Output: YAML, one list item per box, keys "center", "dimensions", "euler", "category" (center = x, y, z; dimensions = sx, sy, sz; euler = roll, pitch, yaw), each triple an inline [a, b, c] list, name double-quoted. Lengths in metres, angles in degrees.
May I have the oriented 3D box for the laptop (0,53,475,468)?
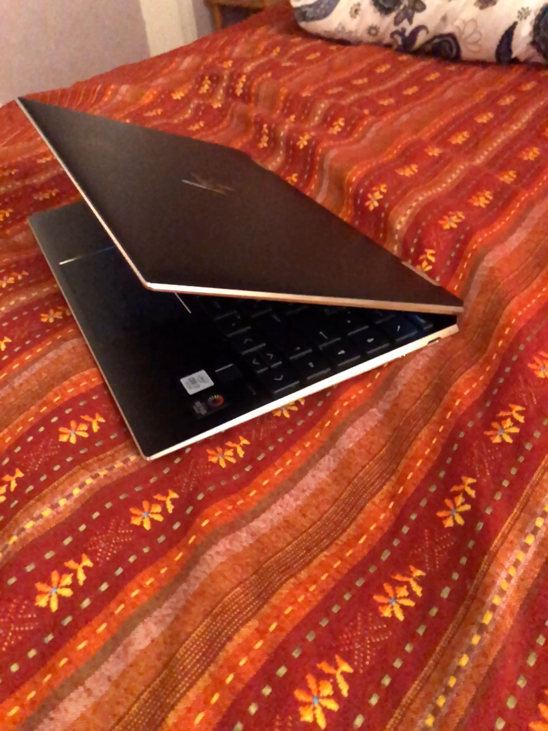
- center: [-0.052, -0.115, 0.402]
  dimensions: [0.203, 0.101, 0.327]
  euler: [-20, 39, -20]
  category: "laptop"
